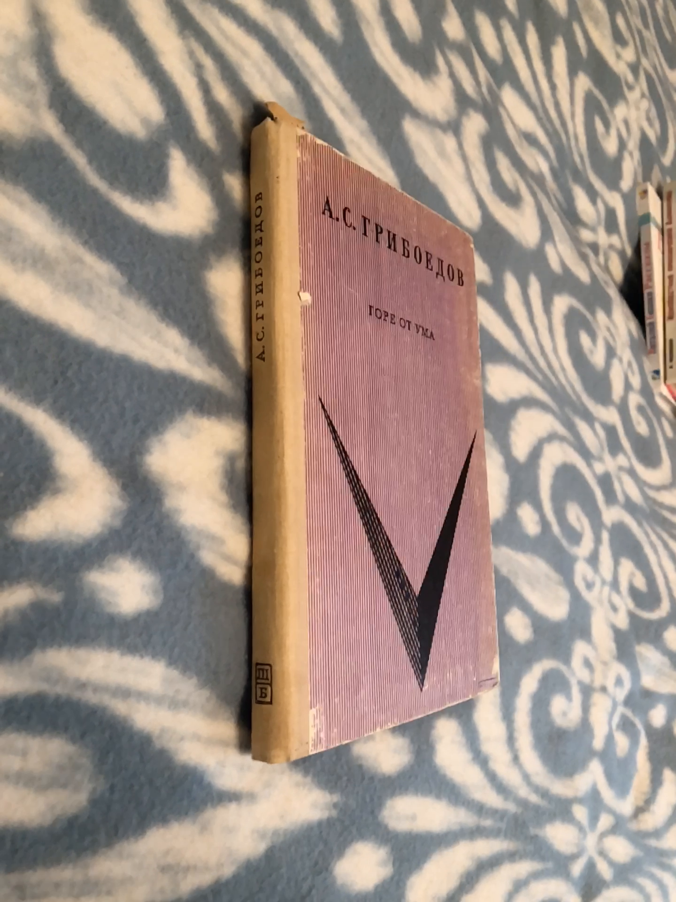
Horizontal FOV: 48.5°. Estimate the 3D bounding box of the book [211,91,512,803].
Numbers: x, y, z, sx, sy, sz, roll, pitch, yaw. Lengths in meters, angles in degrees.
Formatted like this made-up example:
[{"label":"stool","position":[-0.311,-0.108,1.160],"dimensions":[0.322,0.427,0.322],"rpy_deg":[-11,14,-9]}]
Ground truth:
[{"label":"book","position":[0.018,0.000,0.294],"dimensions":[0.159,0.020,0.217],"rpy_deg":[8,78,-50]}]
